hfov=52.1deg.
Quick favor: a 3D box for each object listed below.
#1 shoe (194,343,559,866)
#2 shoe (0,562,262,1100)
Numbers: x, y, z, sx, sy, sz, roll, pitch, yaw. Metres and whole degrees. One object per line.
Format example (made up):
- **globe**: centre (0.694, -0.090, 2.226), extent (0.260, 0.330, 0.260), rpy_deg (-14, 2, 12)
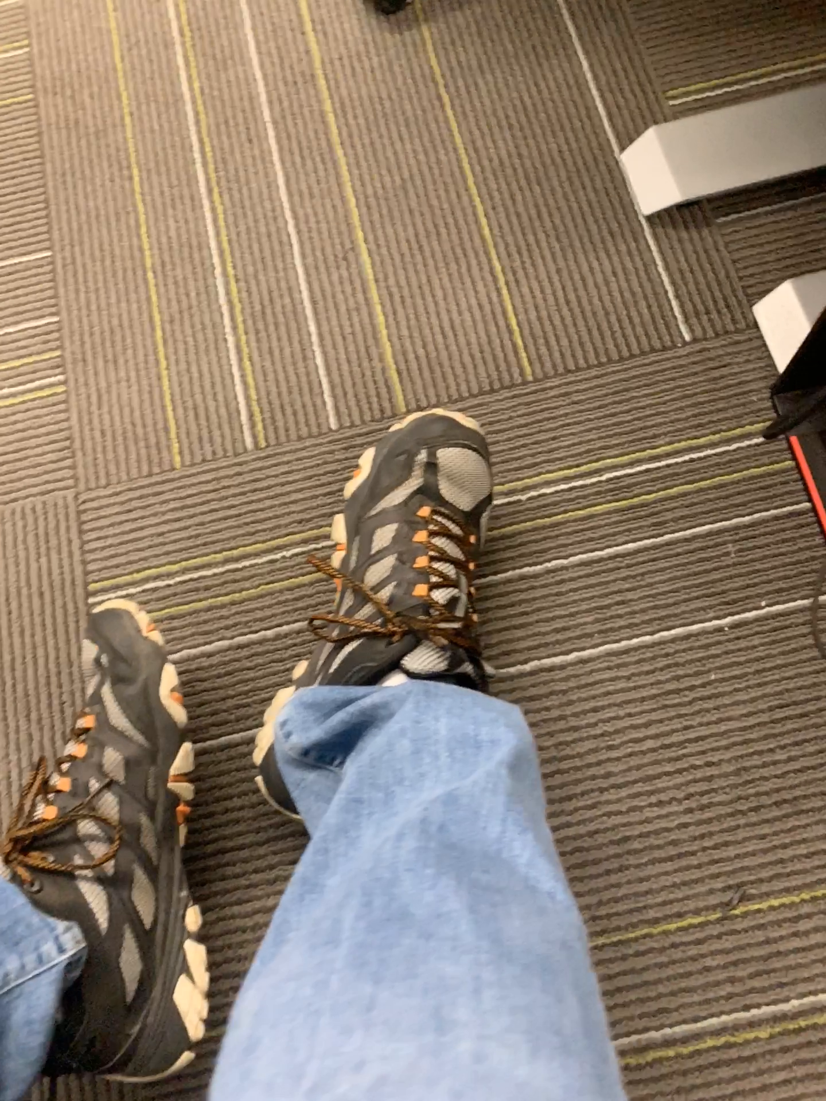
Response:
- **shoe**: centre (-0.020, 0.034, 0.594), extent (0.119, 0.119, 0.325), rpy_deg (8, 78, 44)
- **shoe**: centre (-0.205, 0.182, 0.566), extent (0.127, 0.119, 0.325), rpy_deg (-1, 76, -36)
